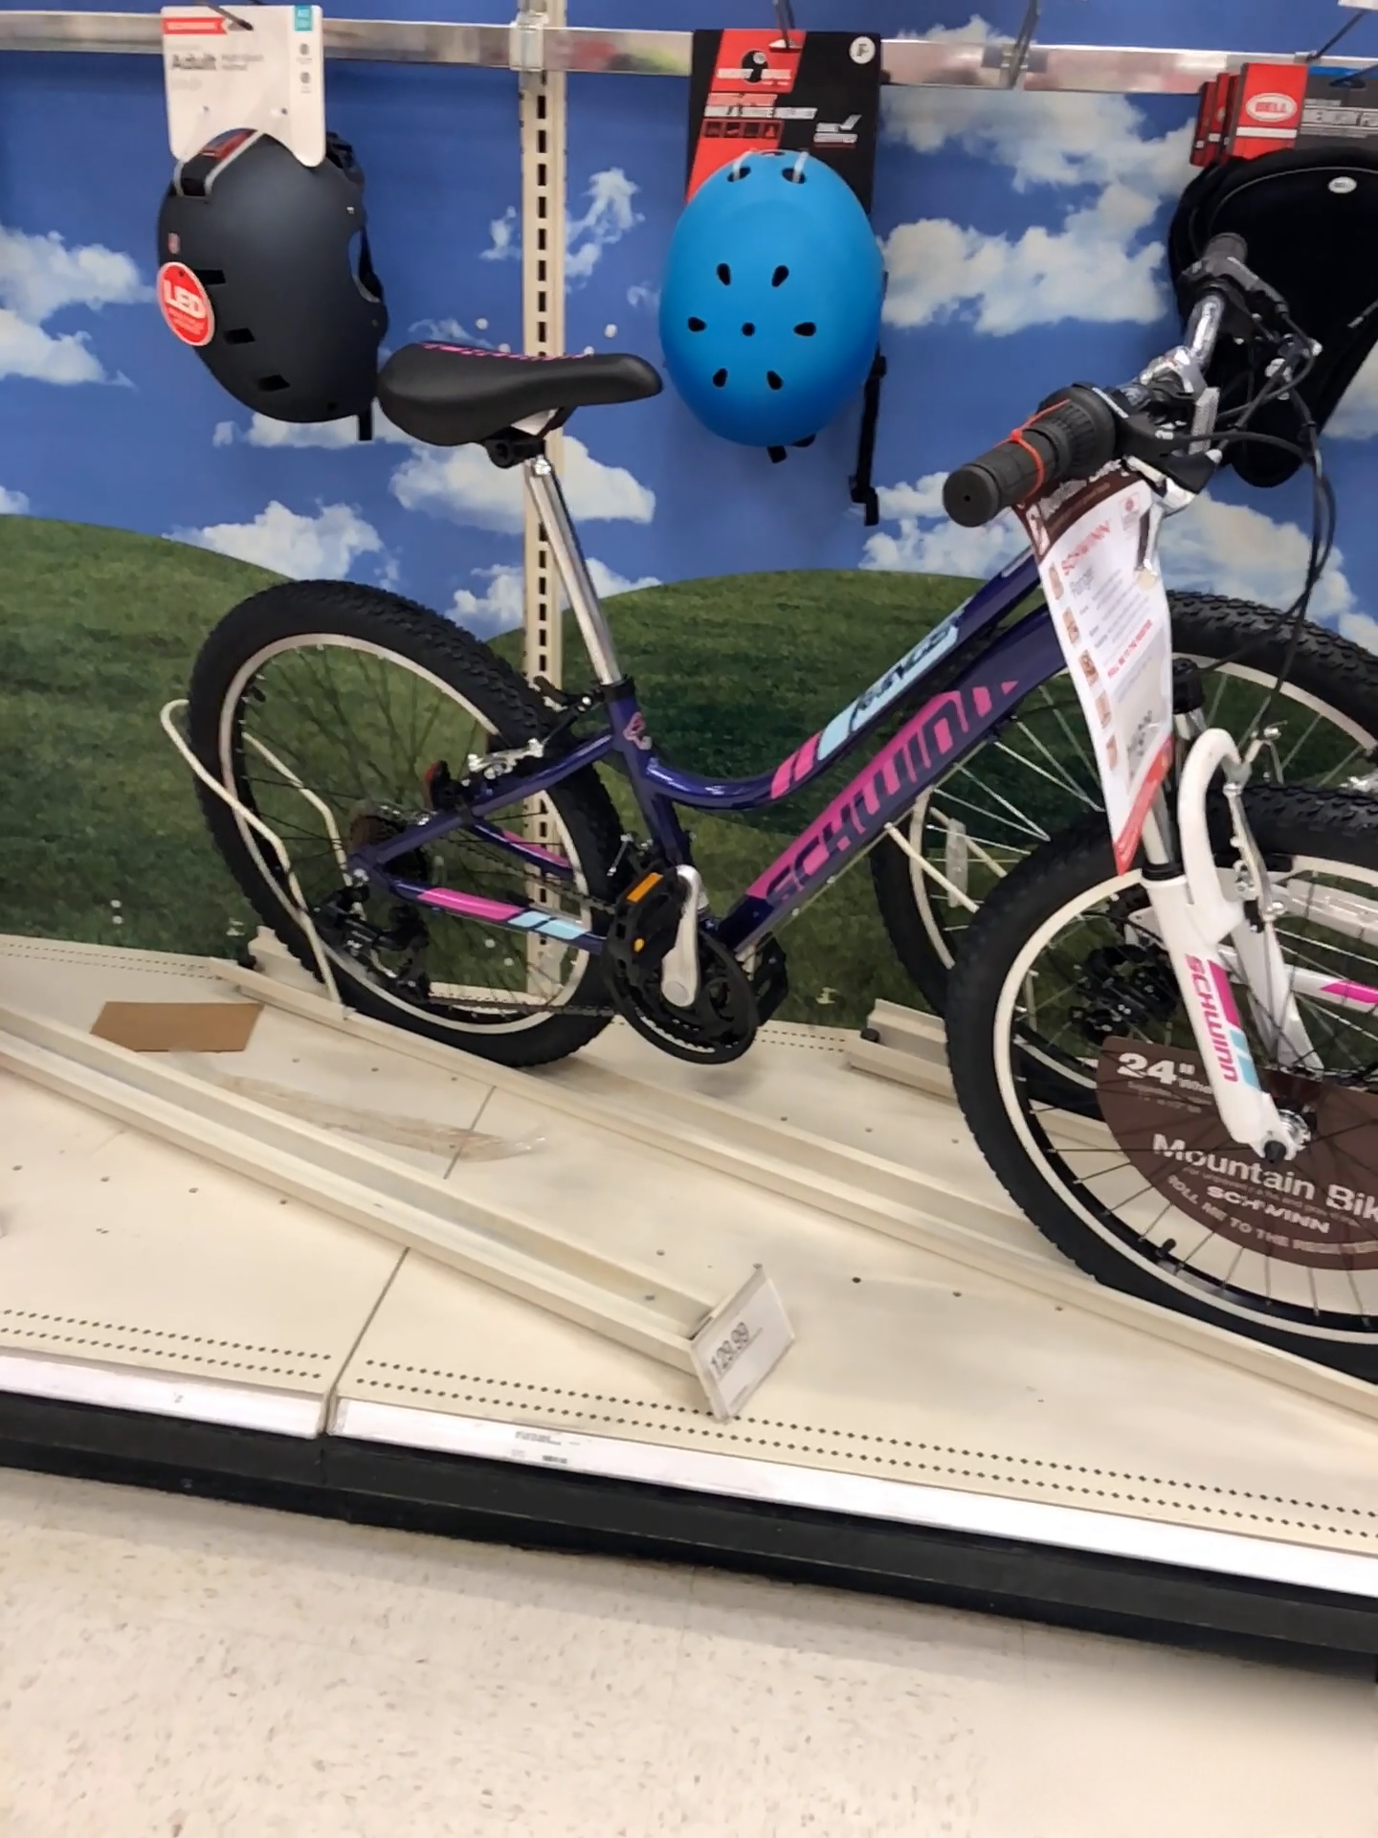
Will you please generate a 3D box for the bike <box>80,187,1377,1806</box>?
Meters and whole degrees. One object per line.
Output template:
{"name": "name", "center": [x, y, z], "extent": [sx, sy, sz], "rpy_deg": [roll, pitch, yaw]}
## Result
{"name": "bike", "center": [0.171, -0.129, 1.203], "extent": [1.224, 0.799, 0.570], "rpy_deg": [19, 29, 33]}
